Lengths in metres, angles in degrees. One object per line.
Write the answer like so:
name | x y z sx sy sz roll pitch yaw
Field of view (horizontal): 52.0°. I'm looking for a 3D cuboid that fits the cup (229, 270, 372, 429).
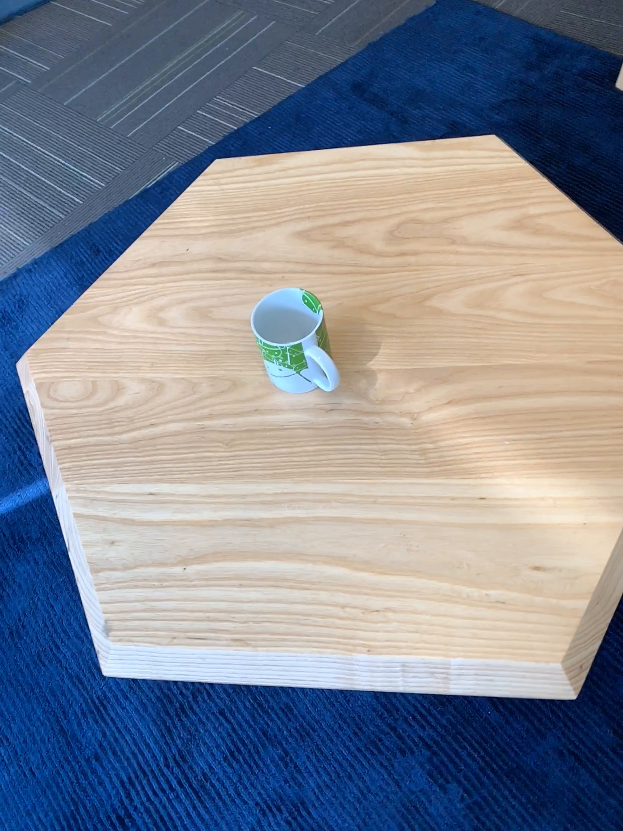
cup | -0.010 -0.072 0.701 0.090 0.090 0.120 -36 60 -11
